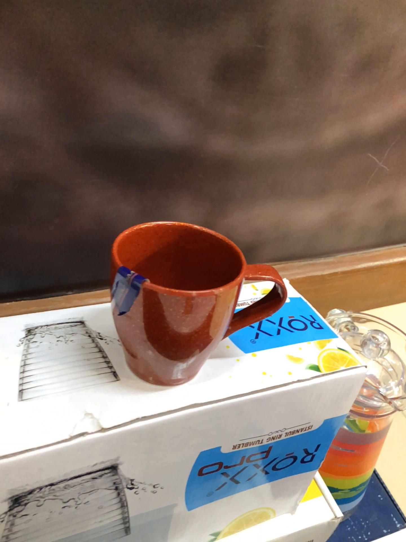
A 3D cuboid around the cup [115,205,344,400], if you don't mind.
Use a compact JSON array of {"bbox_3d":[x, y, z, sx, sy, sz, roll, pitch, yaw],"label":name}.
[{"bbox_3d":[0.005,0.014,0.238,0.100,0.070,0.070,0,33,-12],"label":"cup"}]
